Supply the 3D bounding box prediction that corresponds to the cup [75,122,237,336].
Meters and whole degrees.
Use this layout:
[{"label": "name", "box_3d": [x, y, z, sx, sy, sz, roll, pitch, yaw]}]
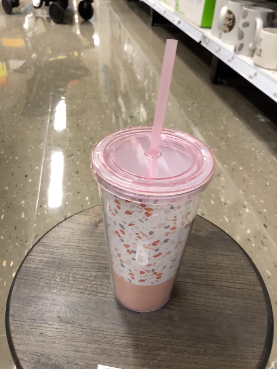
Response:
[{"label": "cup", "box_3d": [0.006, 0.038, 0.277, 0.090, 0.149, 0.090, 2, 37, -2]}]
